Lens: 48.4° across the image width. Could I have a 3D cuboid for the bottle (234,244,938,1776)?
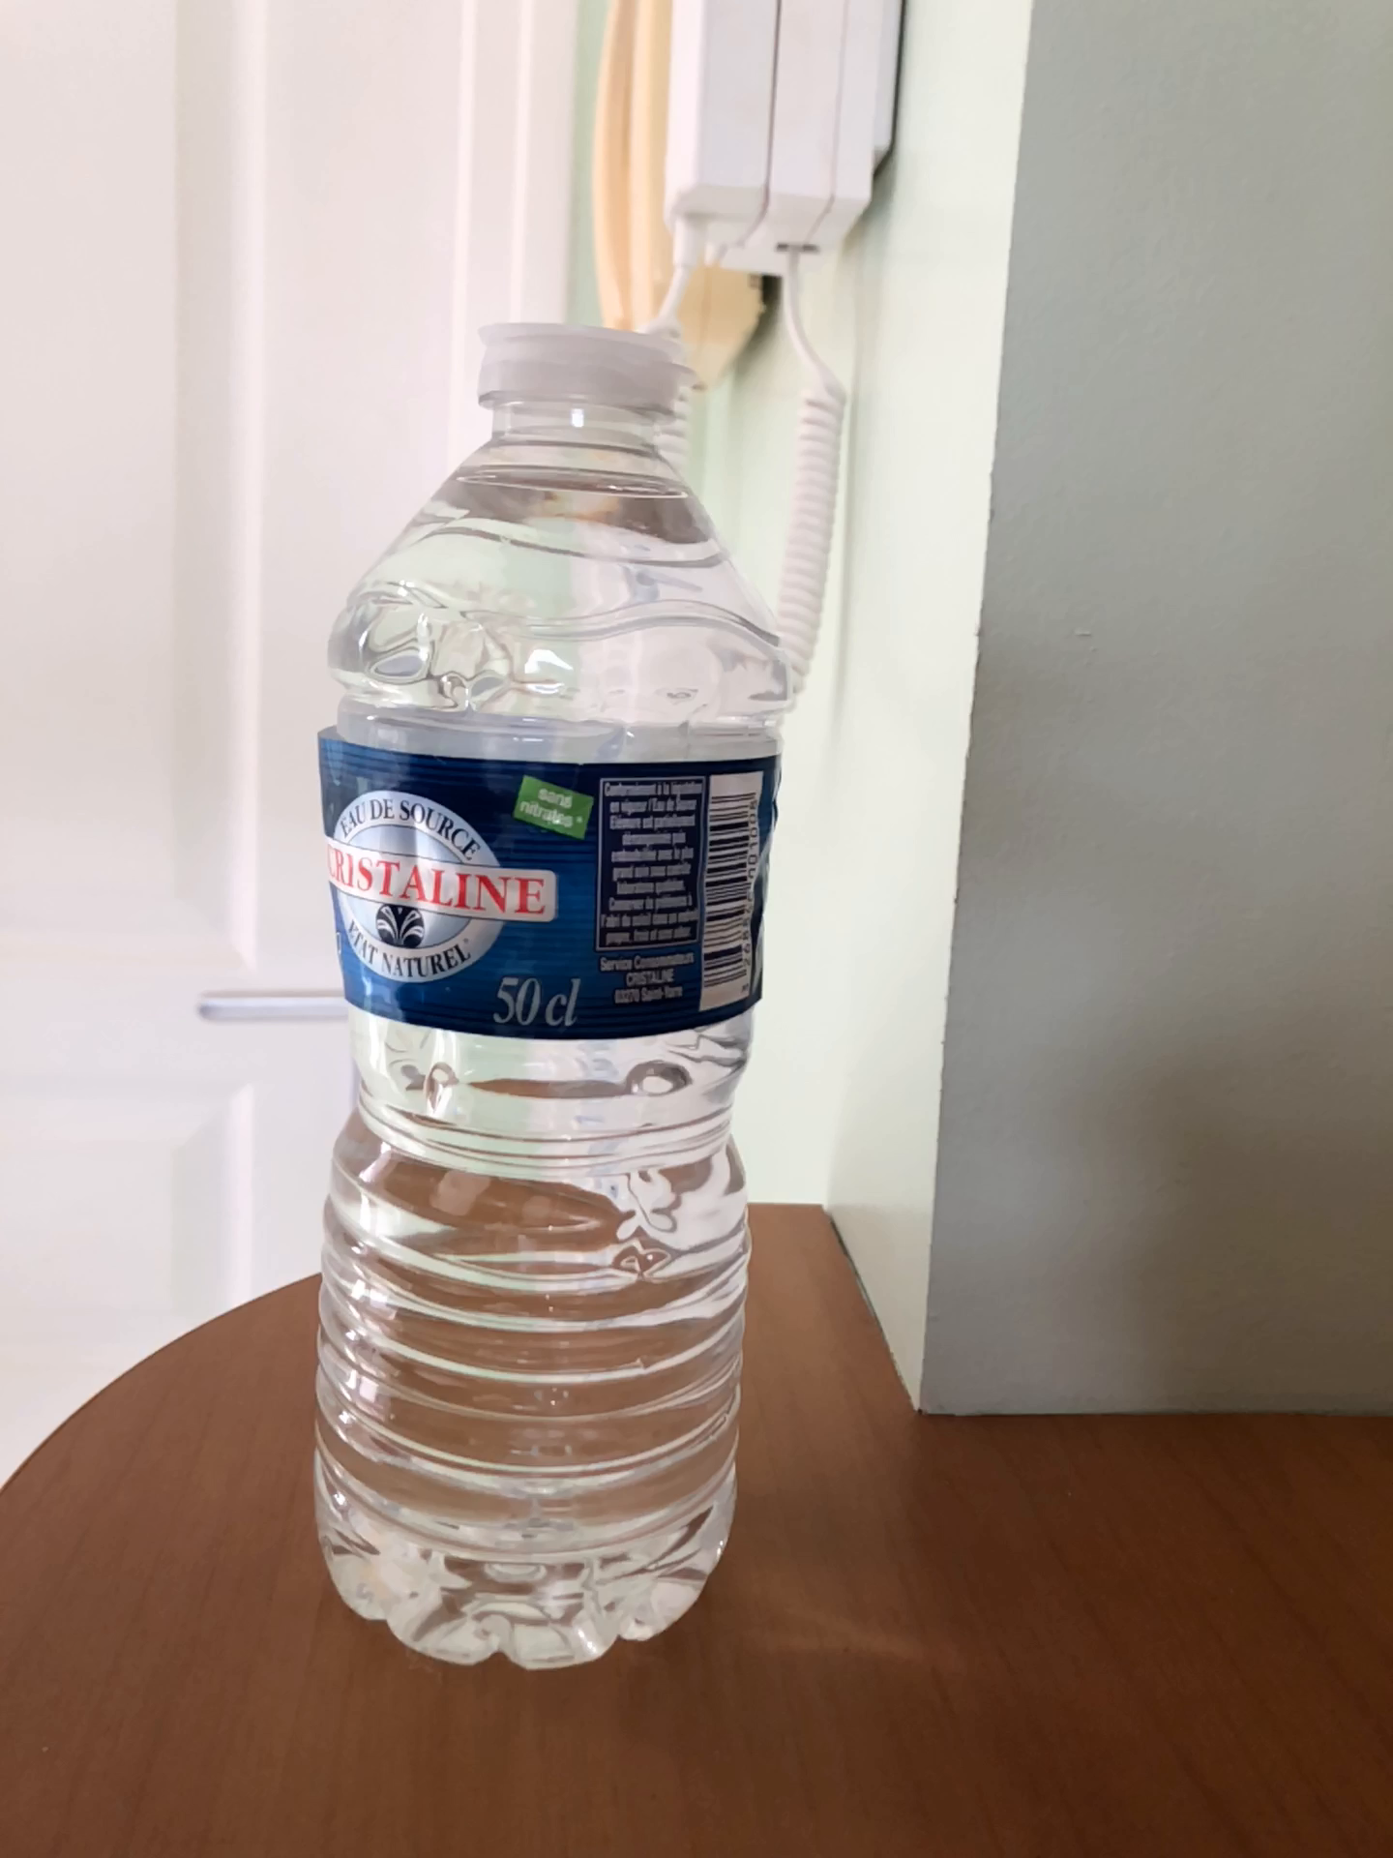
[{"bbox_3d":[-0.017,0.008,0.235,0.070,0.190,0.070,3,9,-1],"label":"bottle"}]
